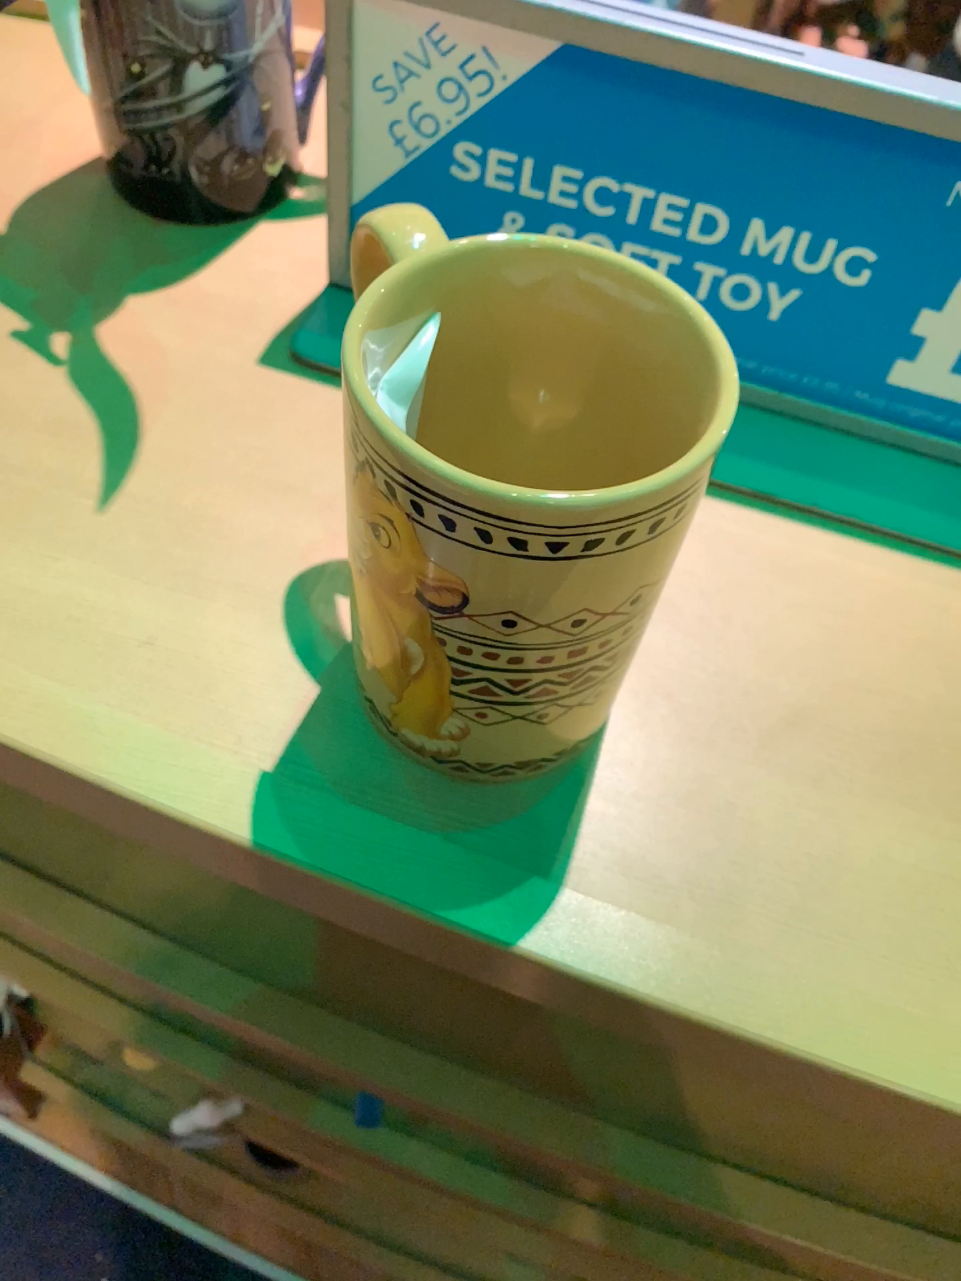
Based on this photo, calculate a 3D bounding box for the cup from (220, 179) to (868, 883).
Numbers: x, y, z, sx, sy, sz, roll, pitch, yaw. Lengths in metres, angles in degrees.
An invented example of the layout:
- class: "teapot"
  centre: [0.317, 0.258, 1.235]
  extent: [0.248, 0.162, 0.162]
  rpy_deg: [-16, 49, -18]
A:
- class: "cup"
  centre: [0.004, -0.030, 0.276]
  extent: [0.100, 0.121, 0.119]
  rpy_deg: [-24, 61, -25]
